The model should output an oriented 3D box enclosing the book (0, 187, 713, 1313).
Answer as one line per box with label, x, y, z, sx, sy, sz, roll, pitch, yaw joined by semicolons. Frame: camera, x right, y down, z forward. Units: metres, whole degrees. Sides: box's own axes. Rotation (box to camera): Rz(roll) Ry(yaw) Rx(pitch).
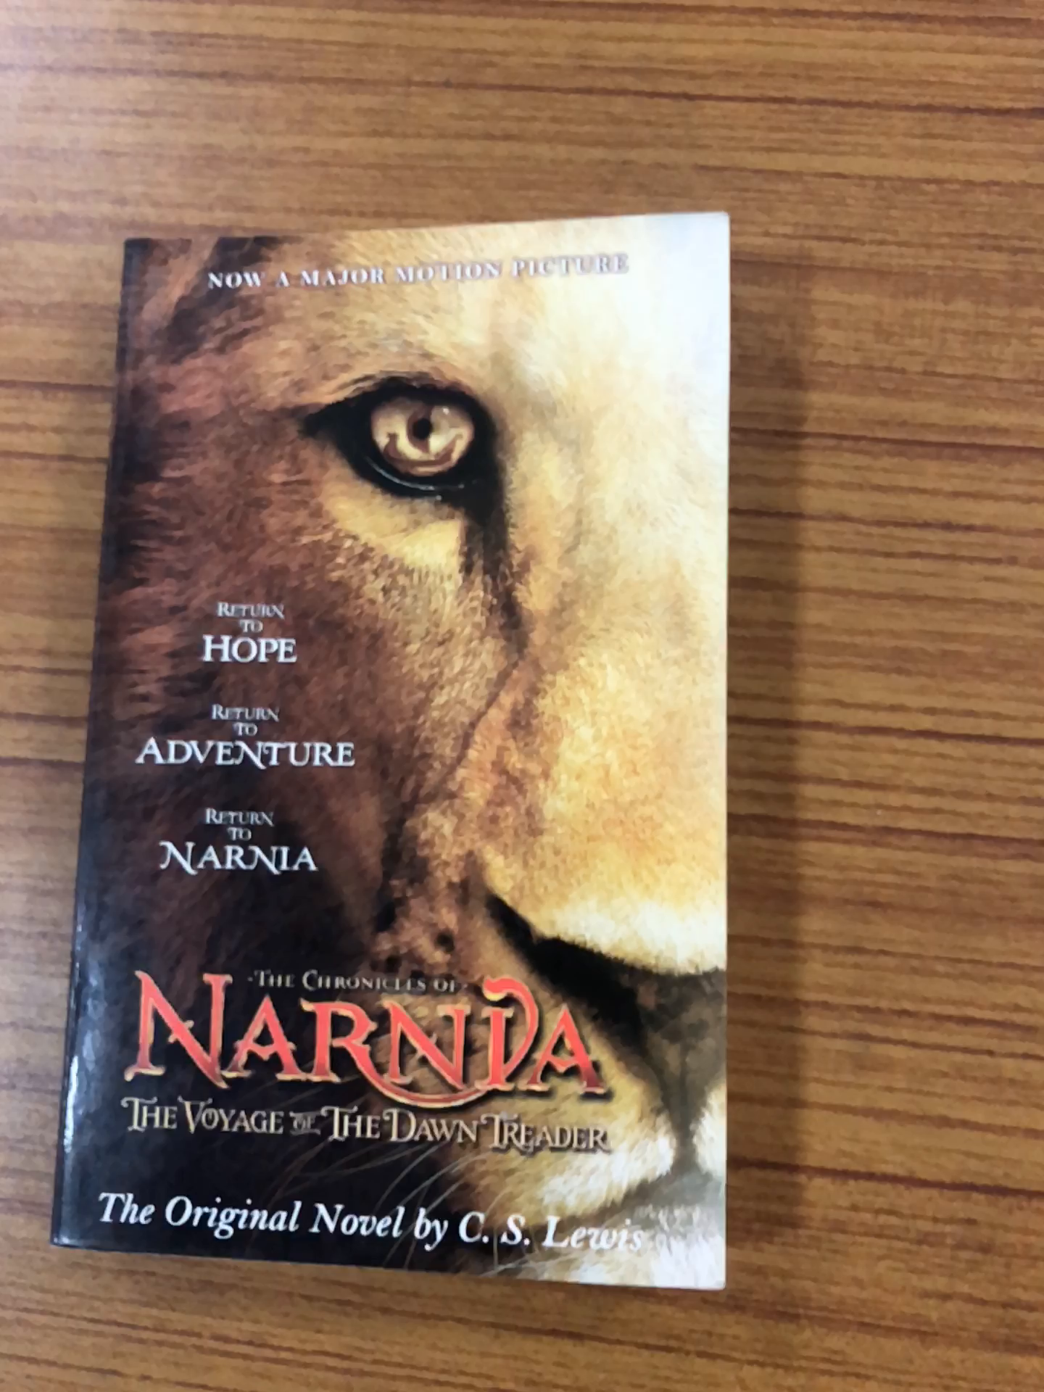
book;-0.029;0.004;0.208;0.120;0.030;0.180;1;83;4
